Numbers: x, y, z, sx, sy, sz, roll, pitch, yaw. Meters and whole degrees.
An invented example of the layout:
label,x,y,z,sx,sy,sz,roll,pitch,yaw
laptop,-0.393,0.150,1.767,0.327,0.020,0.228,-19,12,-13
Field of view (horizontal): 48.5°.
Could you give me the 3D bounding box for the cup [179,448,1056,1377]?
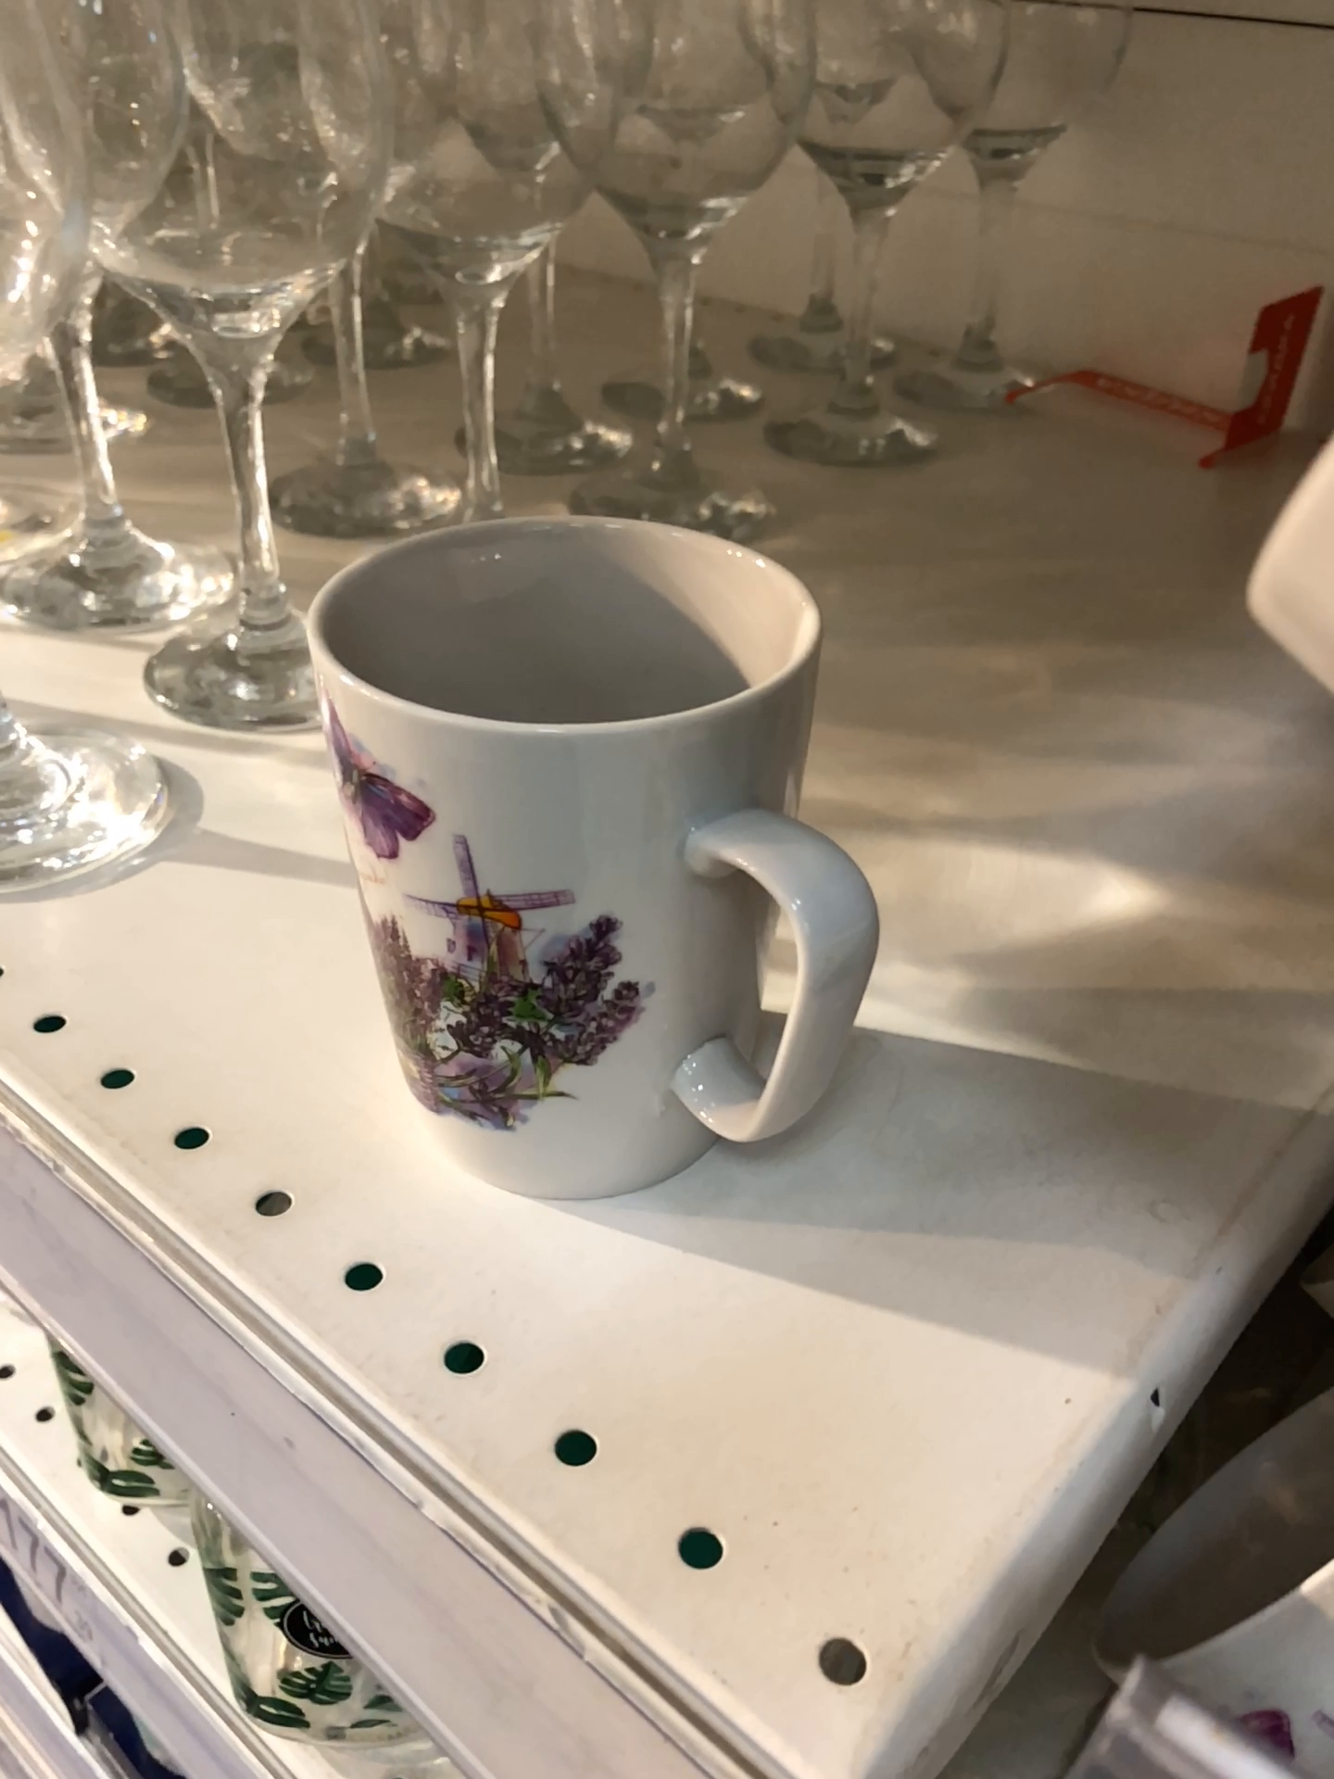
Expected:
label,x,y,z,sx,sy,sz,roll,pitch,yaw
cup,-0.012,-0.006,0.258,0.082,0.094,0.120,-25,42,-30
